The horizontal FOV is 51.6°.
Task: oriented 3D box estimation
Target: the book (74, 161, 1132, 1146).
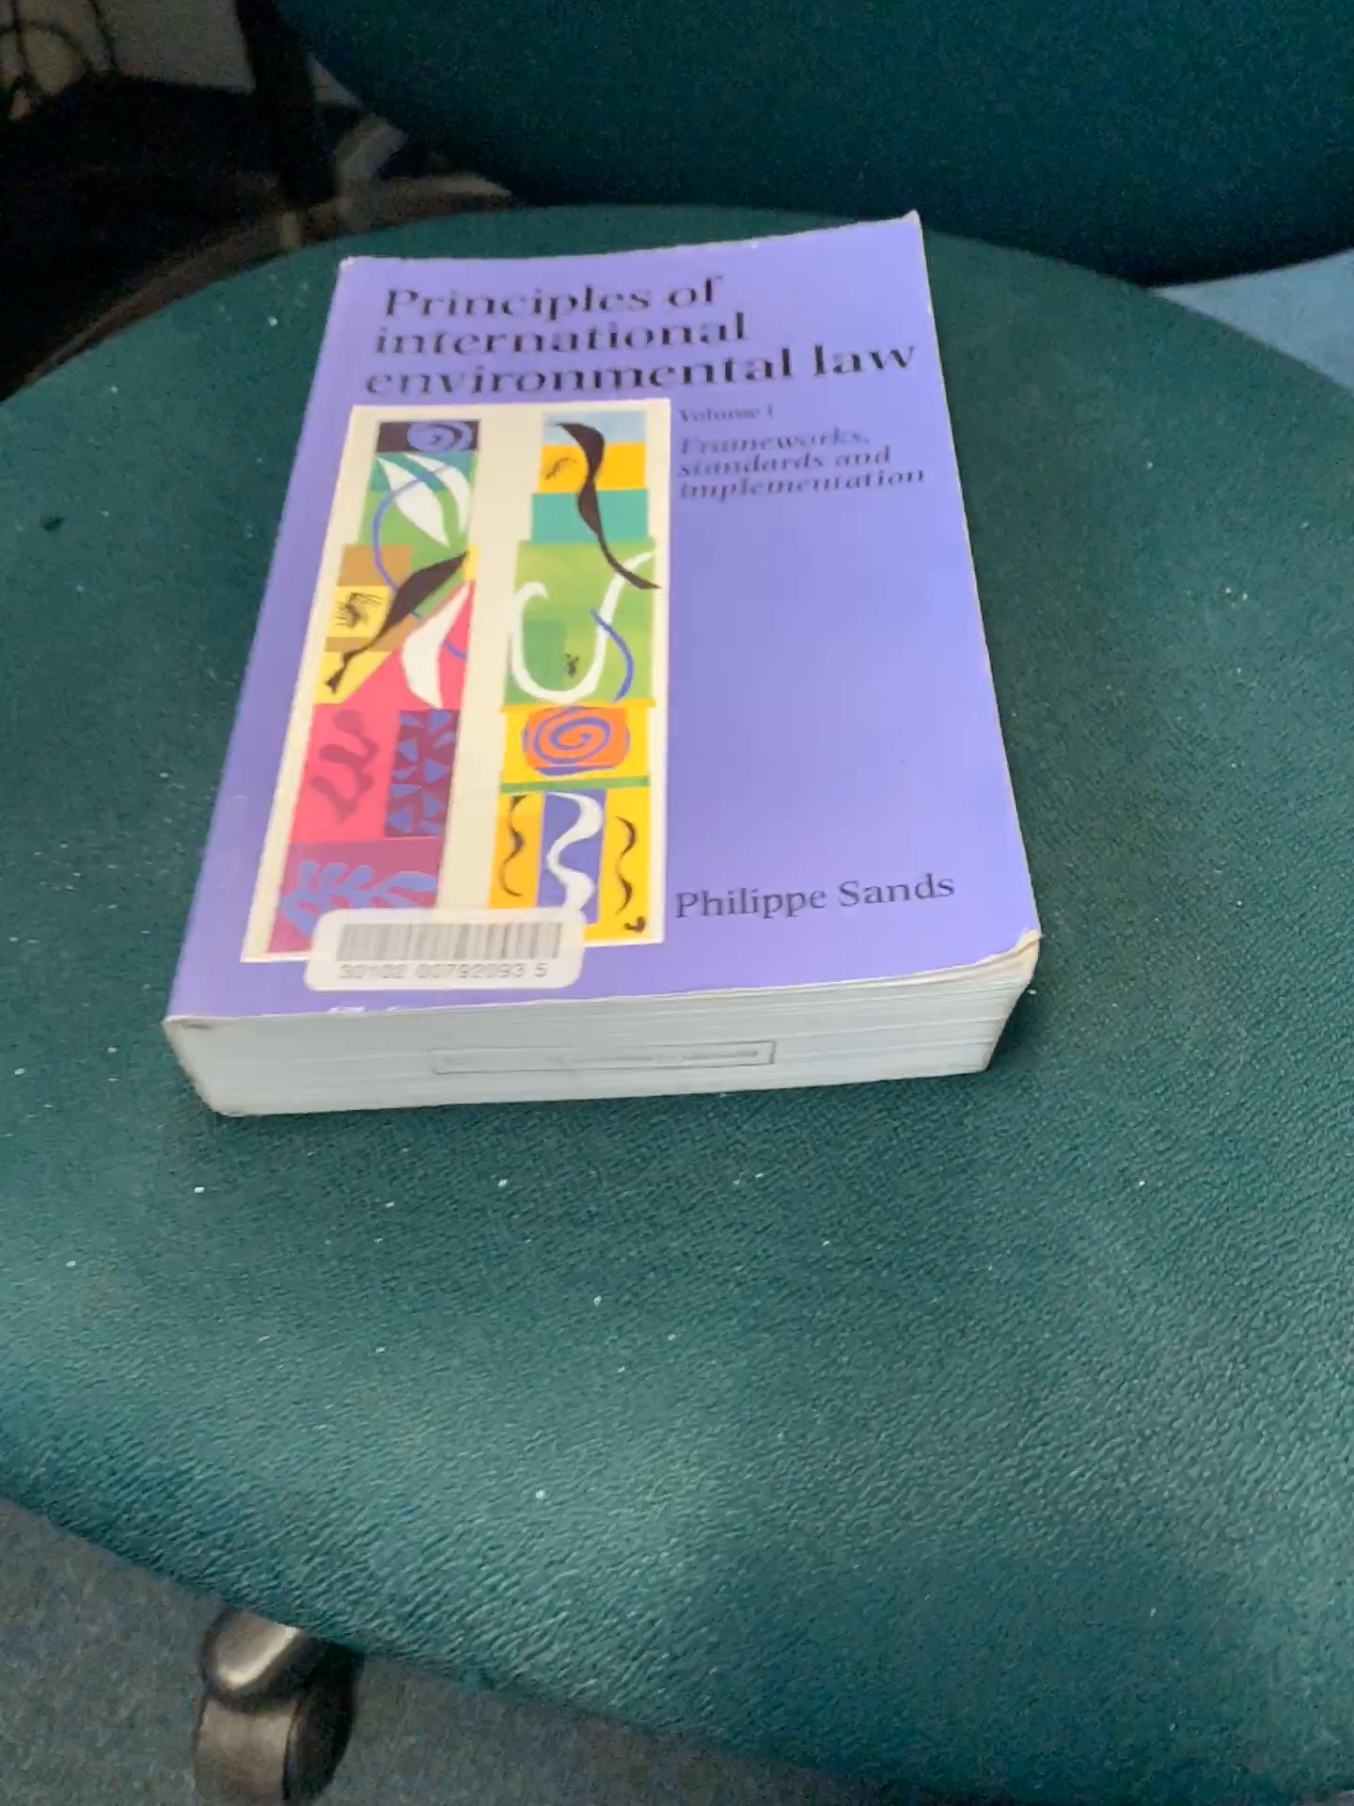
[{"bbox_3d":[-0.014,-0.079,0.337,0.180,0.050,0.272,-2,54,2],"label":"book"}]
